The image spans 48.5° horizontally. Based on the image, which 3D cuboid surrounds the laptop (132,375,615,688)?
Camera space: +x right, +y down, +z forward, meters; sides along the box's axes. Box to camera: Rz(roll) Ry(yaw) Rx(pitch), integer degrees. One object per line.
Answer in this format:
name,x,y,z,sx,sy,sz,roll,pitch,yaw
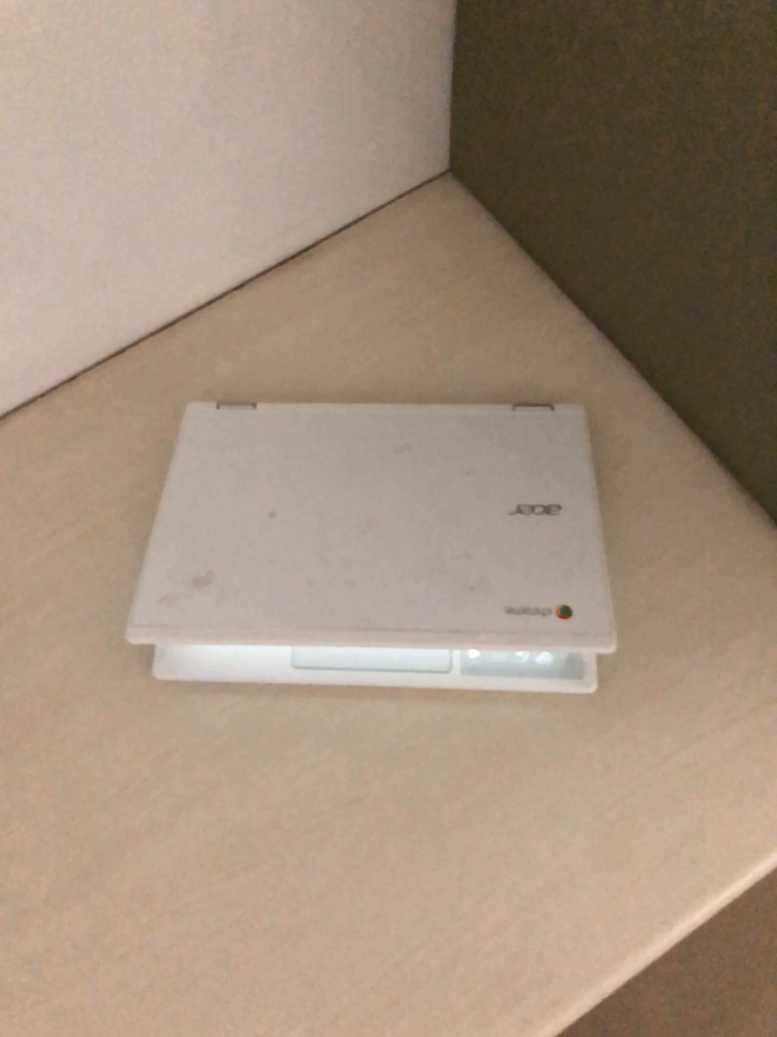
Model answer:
laptop,-0.006,0.005,0.562,0.282,0.055,0.192,1,68,4
